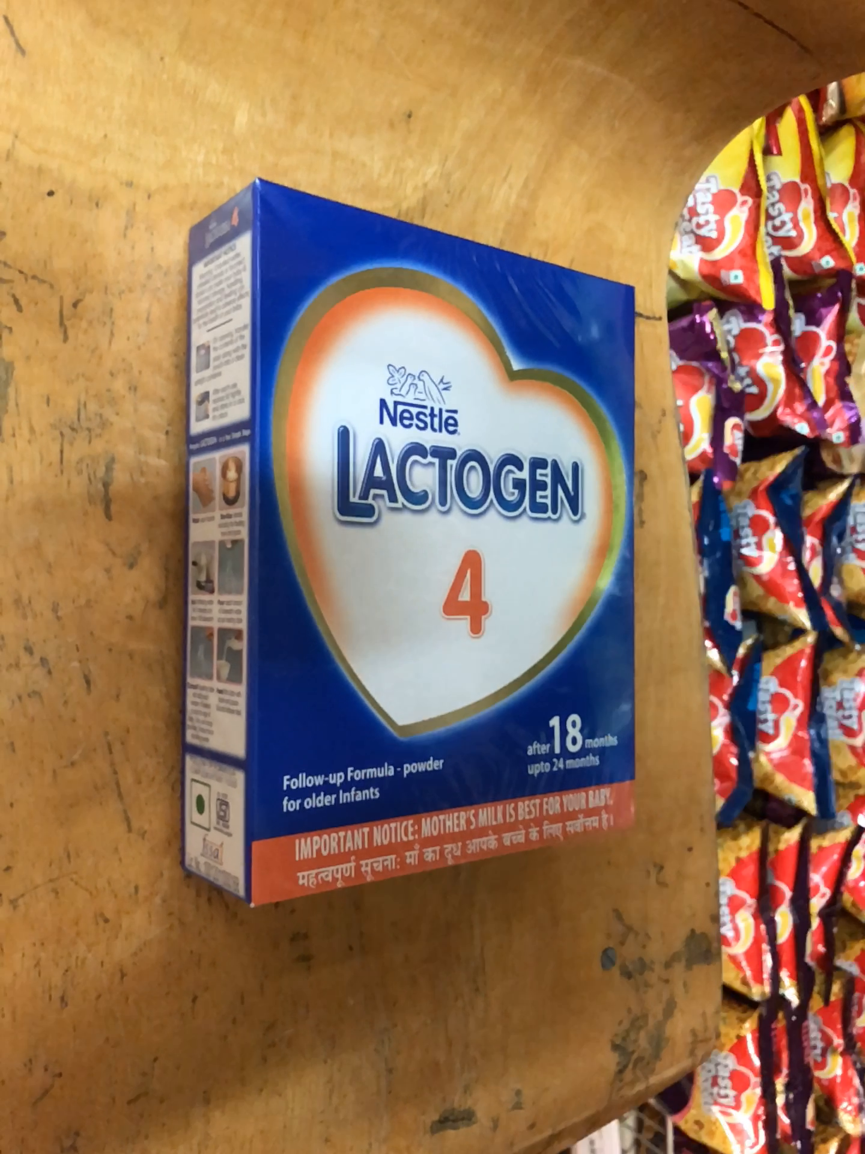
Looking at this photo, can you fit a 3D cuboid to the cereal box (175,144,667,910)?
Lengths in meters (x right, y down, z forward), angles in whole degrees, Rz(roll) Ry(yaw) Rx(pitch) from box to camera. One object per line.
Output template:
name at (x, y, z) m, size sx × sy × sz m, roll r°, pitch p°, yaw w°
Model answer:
cereal box at (0.002, -0.012, 0.309) m, size 0.151 × 0.060 × 0.190 m, roll 0°, pitch 90°, yaw -37°
